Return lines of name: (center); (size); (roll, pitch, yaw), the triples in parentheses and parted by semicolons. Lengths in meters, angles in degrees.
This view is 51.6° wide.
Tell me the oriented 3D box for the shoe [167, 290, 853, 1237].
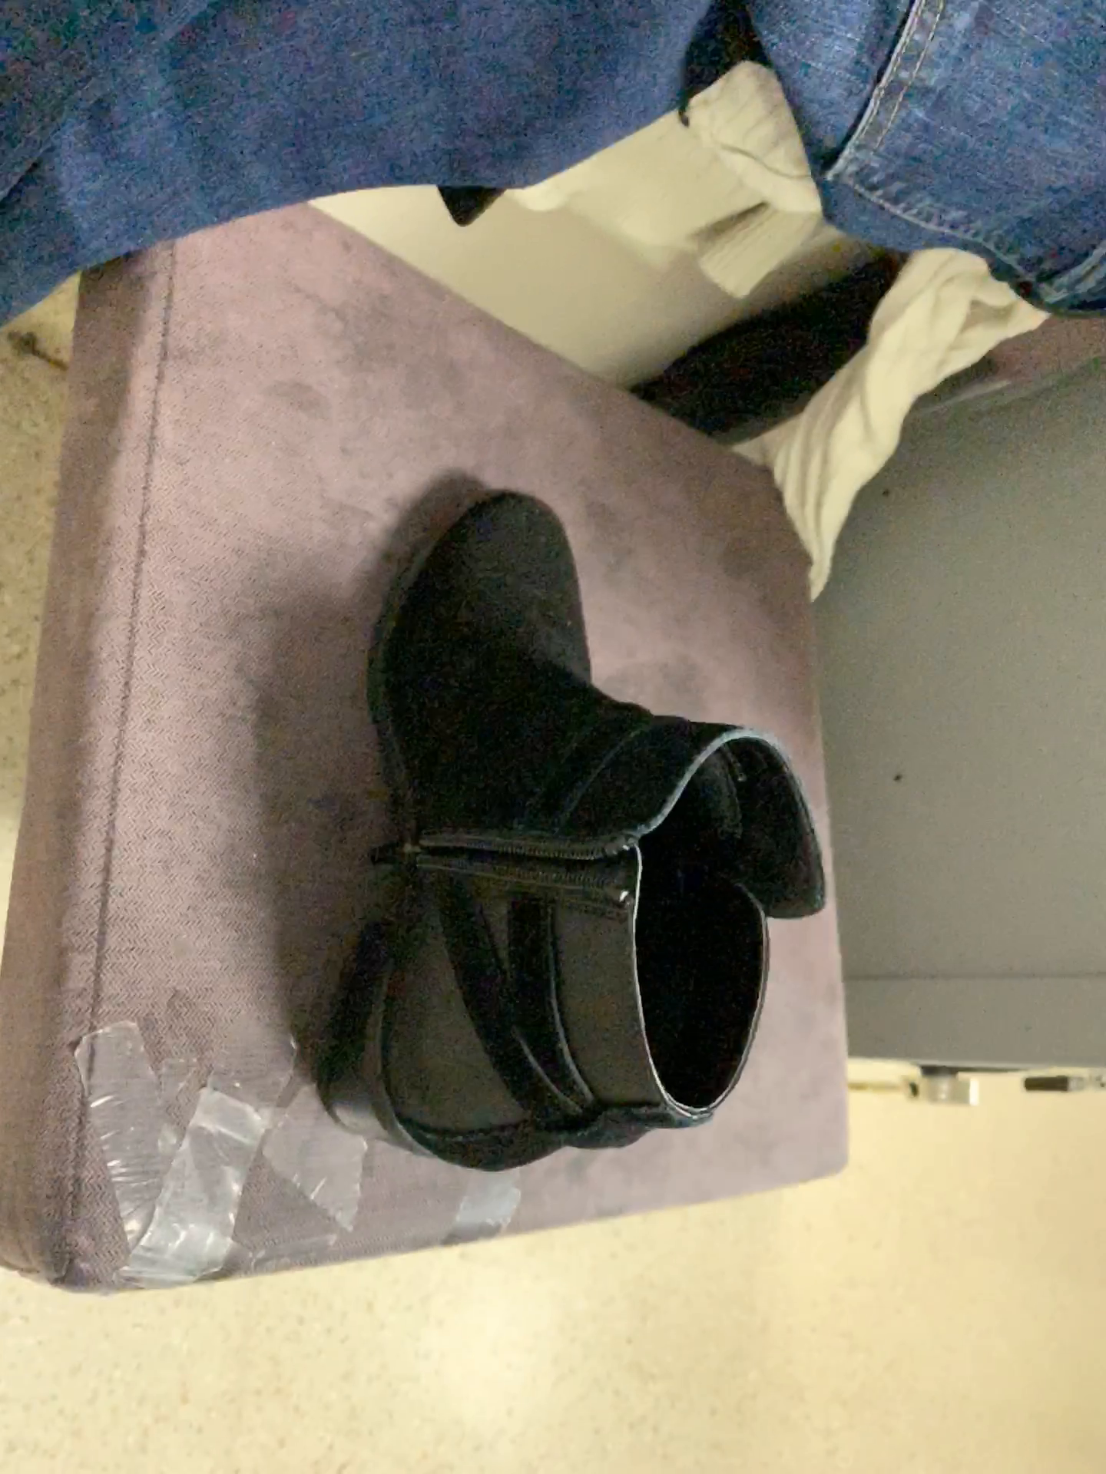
shoe: (-0.001, 0.007, 0.384); (0.105, 0.135, 0.266); (36, 57, -36)
